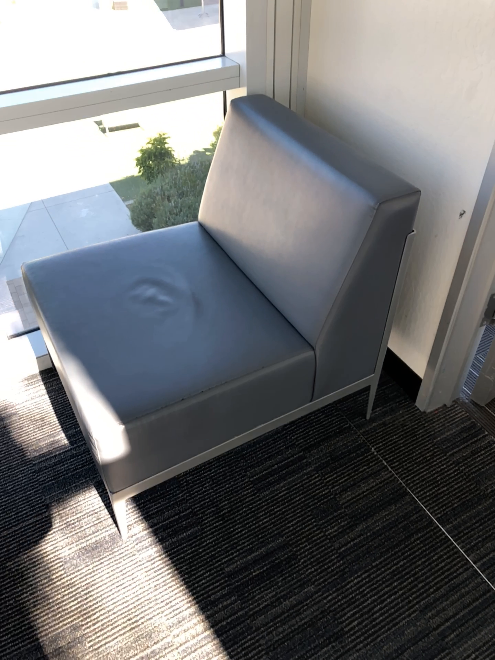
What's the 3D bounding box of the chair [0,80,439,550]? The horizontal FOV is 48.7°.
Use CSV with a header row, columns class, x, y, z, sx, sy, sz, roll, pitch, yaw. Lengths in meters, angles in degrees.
class,x,y,z,sx,sy,sz,roll,pitch,yaw
chair,-0.140,-0.104,1.410,0.750,0.707,0.773,-20,45,-20
